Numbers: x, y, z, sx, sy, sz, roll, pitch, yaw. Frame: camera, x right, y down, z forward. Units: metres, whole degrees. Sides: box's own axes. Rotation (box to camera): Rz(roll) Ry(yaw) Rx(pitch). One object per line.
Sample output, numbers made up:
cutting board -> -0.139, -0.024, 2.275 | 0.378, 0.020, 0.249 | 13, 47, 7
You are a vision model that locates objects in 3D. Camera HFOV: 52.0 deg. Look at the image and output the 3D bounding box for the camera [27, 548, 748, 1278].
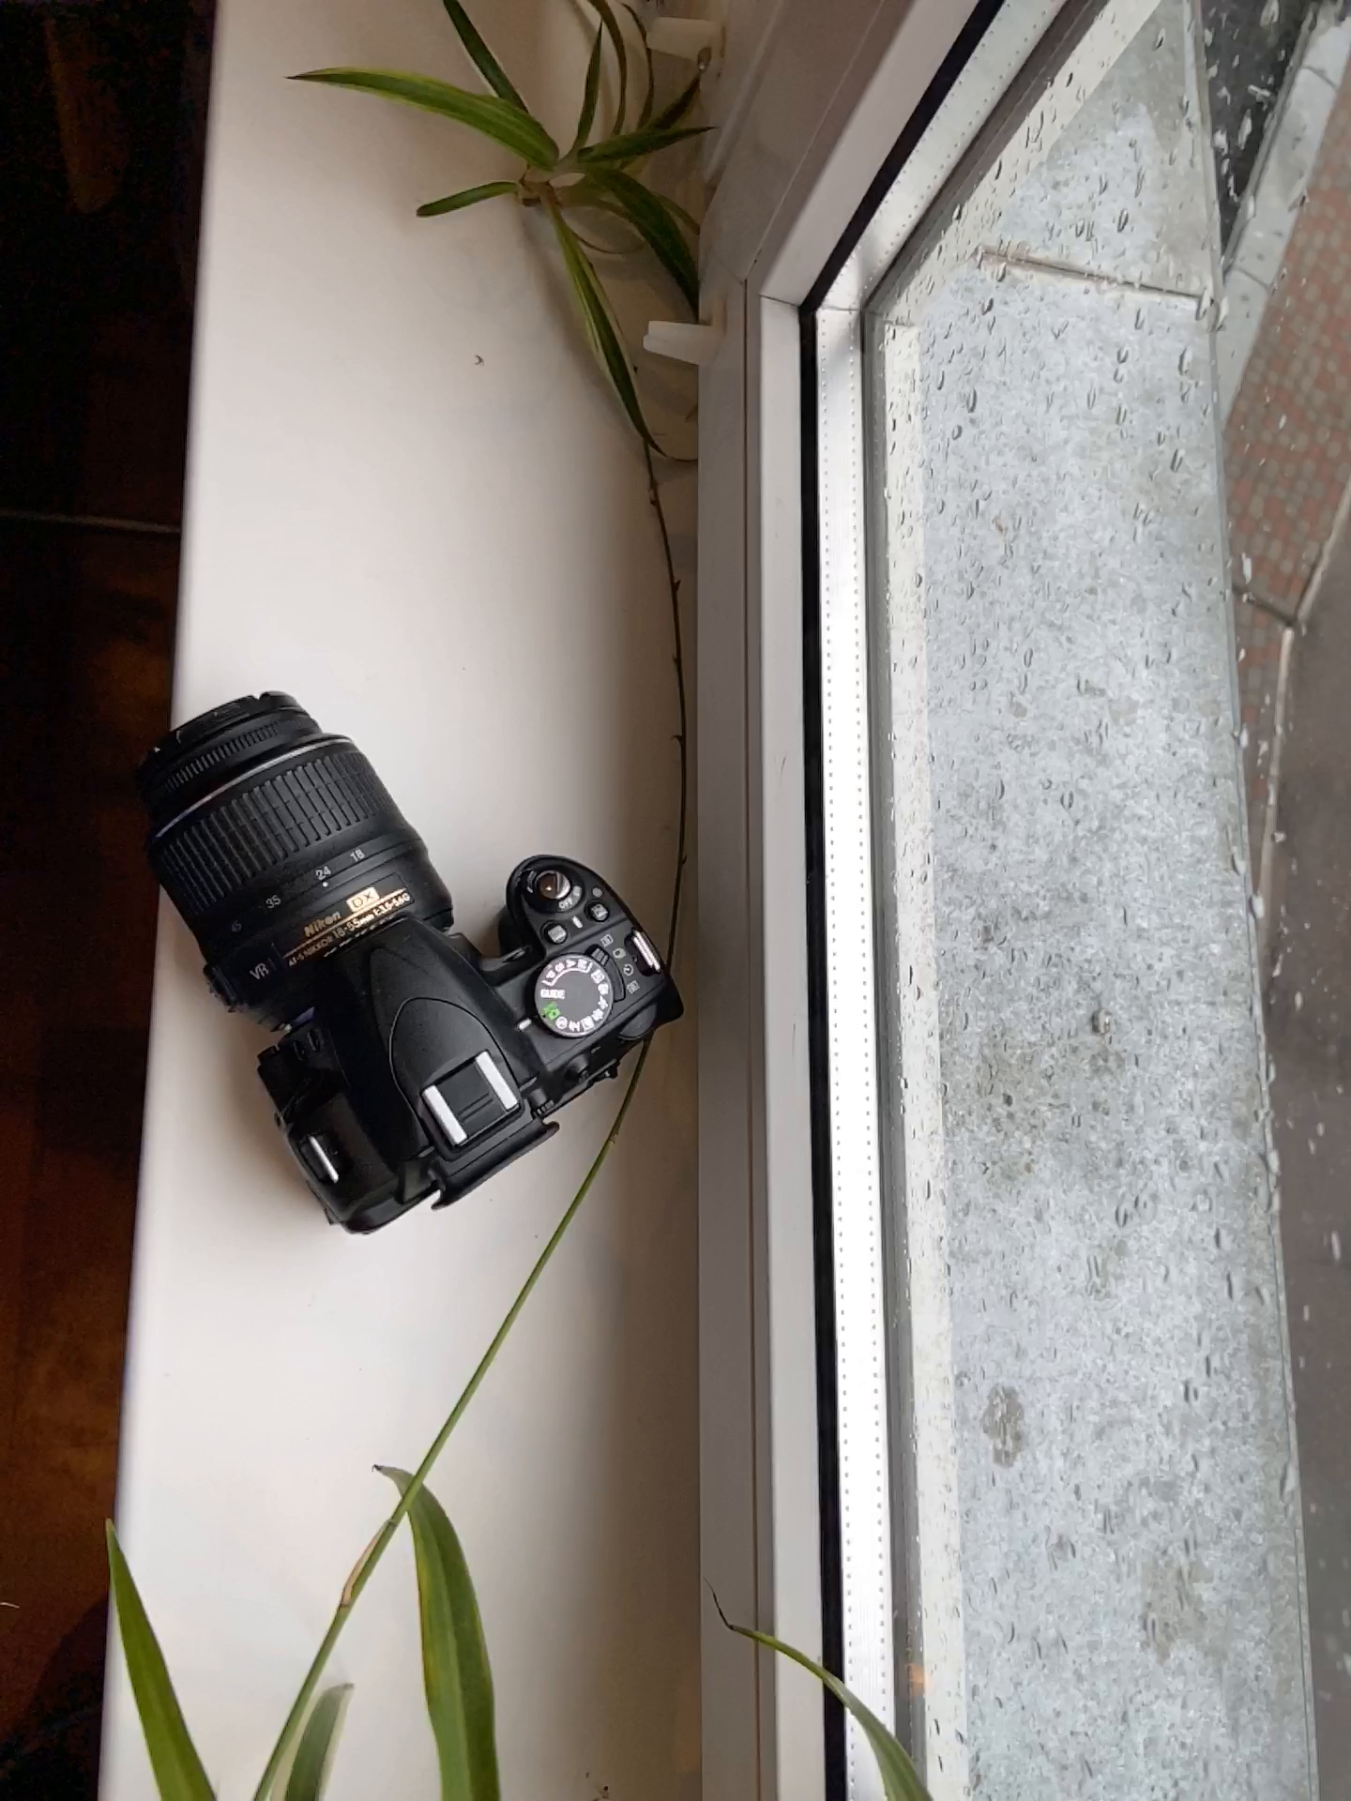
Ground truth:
camera -> -0.083, 0.006, 0.412 | 0.125, 0.091, 0.154 | -34, 90, -18
